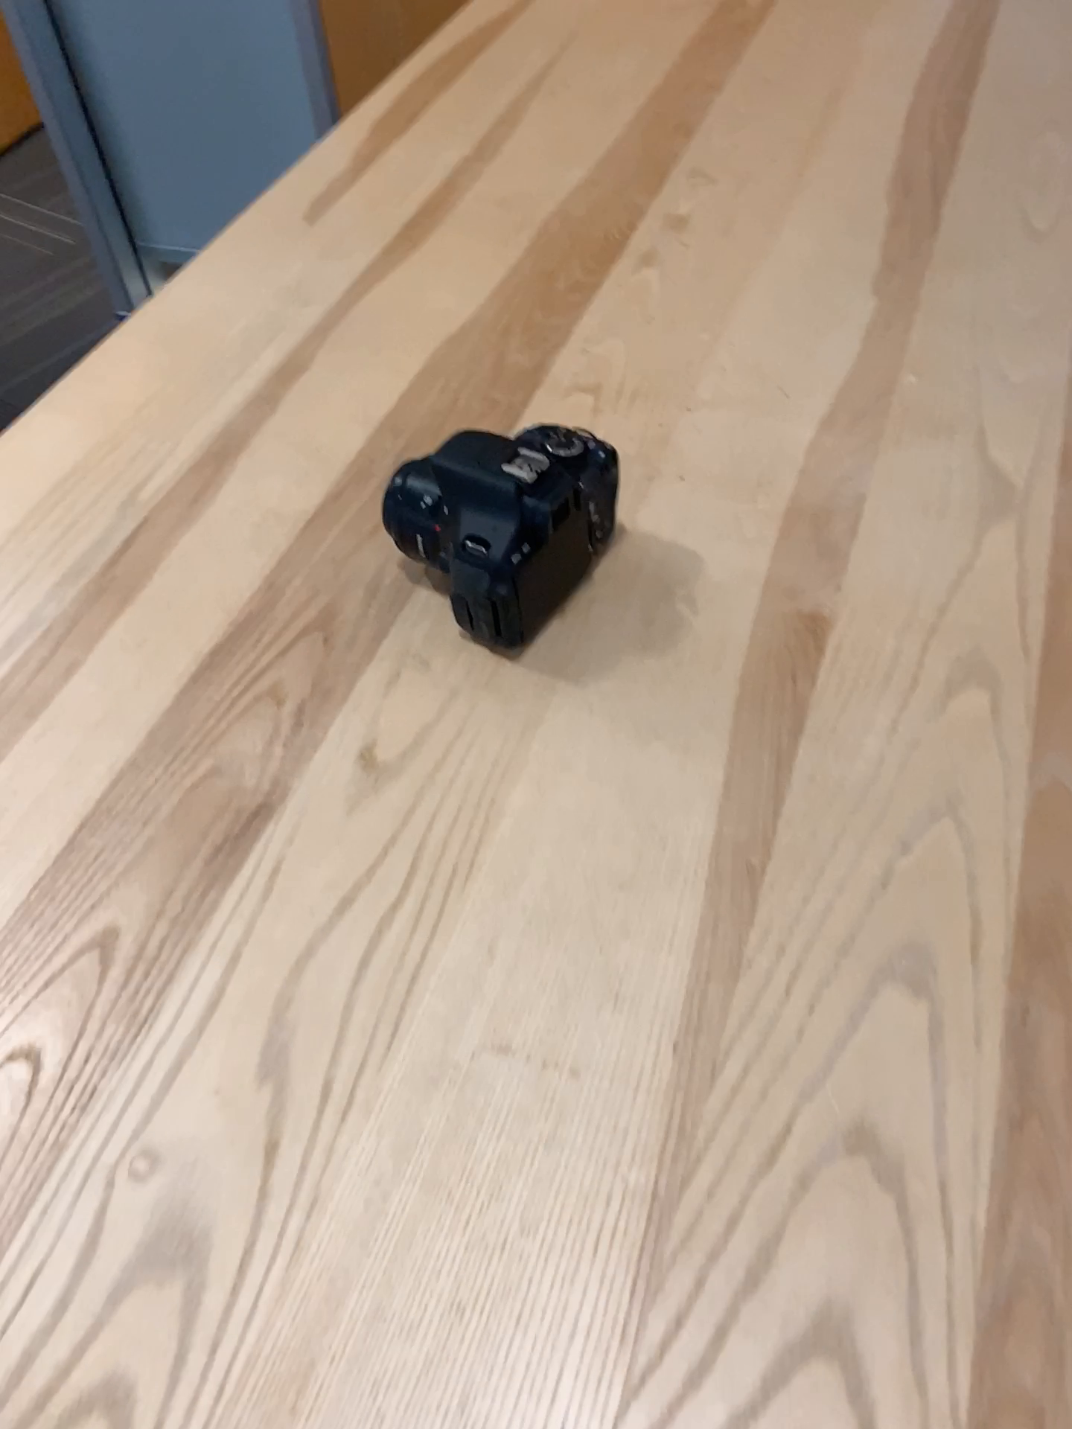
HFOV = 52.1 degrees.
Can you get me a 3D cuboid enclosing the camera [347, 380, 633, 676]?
[{"bbox_3d":[-0.022,-0.115,0.662,0.116,0.094,0.123,23,55,23],"label":"camera"}]
